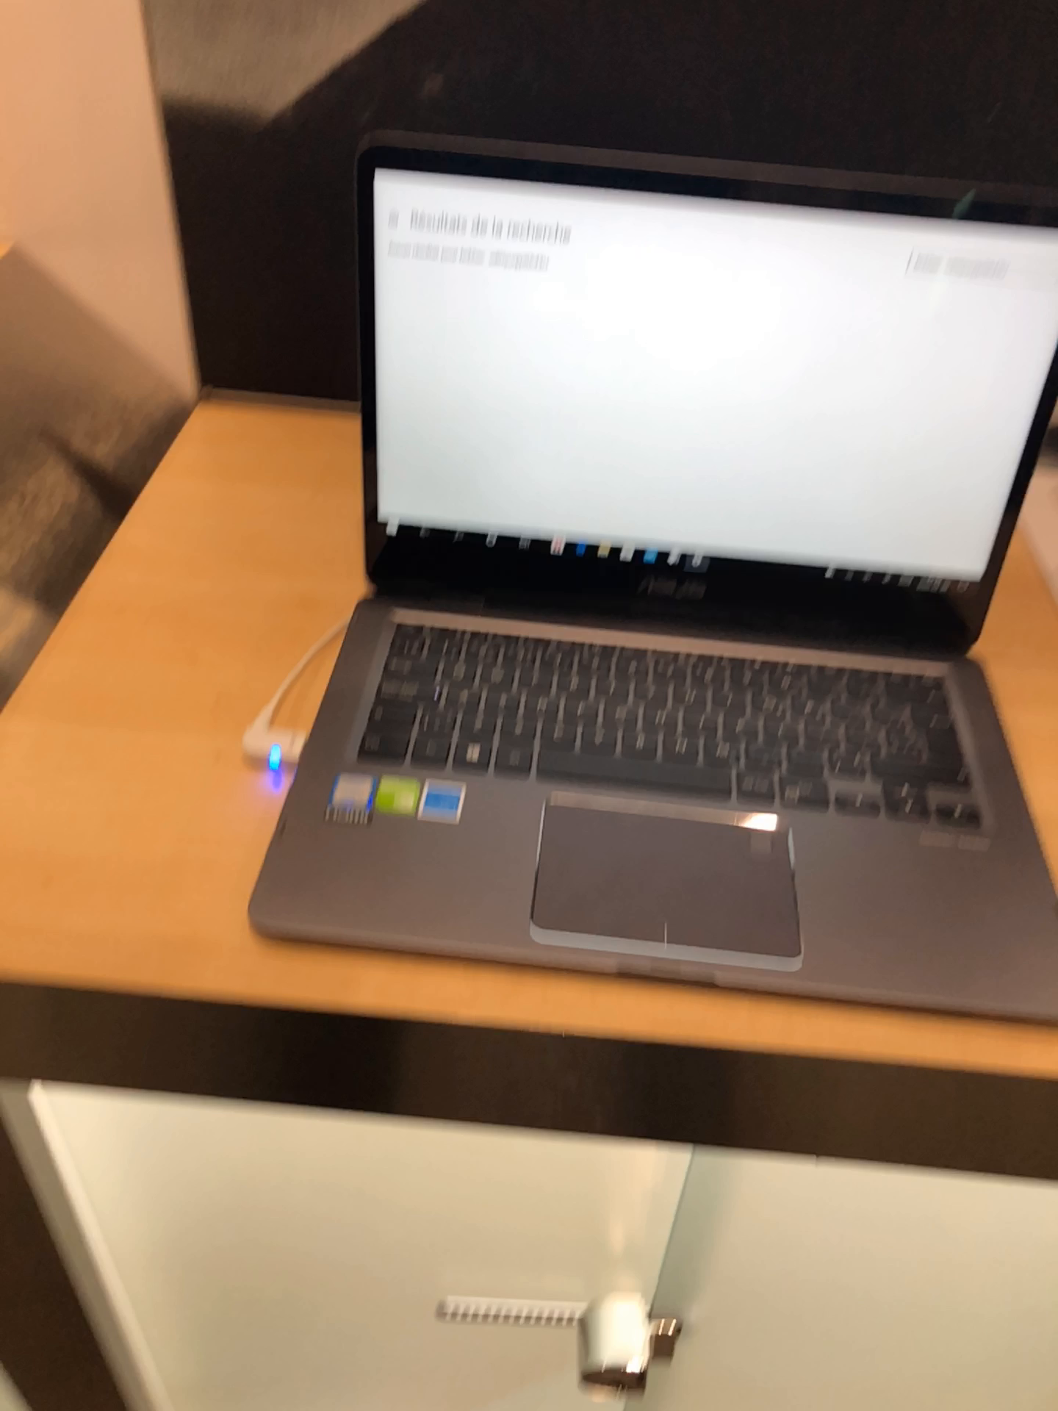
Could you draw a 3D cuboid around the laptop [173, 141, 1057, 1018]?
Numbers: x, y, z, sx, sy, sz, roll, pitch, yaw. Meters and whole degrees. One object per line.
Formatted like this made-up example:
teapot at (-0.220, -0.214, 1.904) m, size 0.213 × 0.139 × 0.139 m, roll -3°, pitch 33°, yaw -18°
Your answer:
laptop at (0.070, -0.059, 0.467) m, size 0.320 × 0.224 × 0.240 m, roll 6°, pitch 41°, yaw 2°
